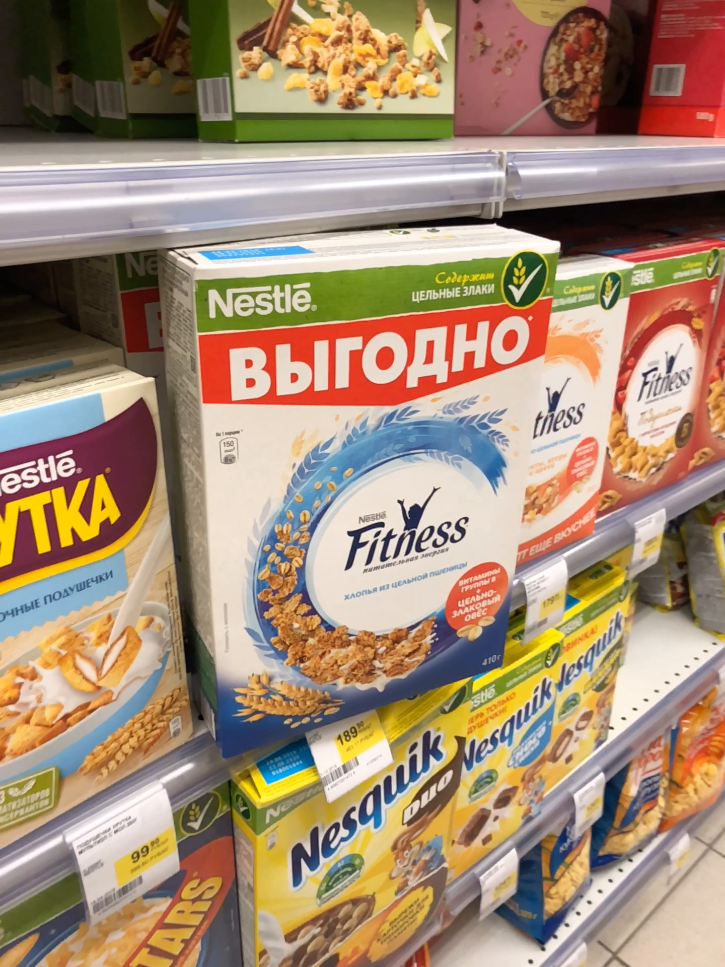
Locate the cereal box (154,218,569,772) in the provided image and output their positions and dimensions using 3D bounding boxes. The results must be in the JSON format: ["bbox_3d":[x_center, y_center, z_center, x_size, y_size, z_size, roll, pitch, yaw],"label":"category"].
[{"bbox_3d":[-0.001,0.006,0.461,0.200,0.288,0.060,-11,30,-25],"label":"cereal box"}]
